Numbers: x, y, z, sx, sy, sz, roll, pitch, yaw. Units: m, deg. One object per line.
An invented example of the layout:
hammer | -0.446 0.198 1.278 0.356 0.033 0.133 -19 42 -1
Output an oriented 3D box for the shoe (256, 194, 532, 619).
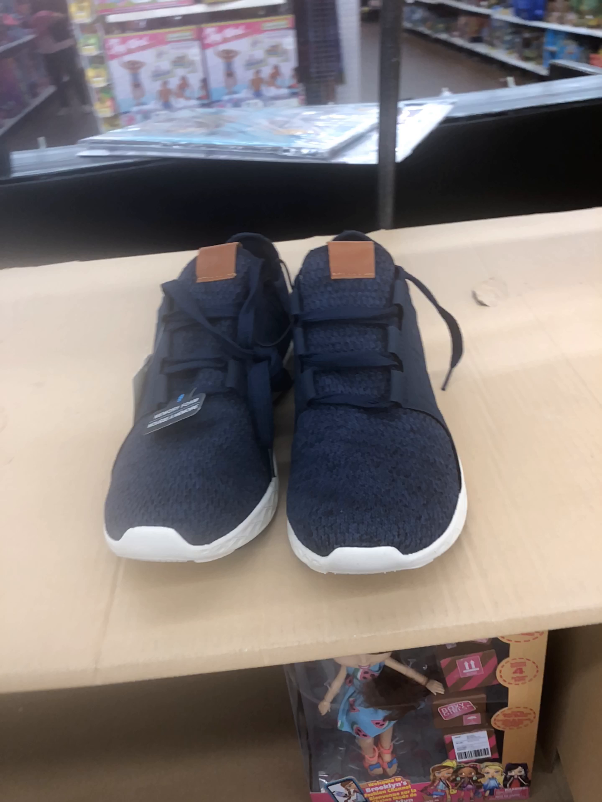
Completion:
shoe | 0.043 -0.024 0.422 0.110 0.120 0.291 -4 33 3

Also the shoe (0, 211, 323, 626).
shoe | -0.059 -0.015 0.449 0.110 0.129 0.291 0 34 9
